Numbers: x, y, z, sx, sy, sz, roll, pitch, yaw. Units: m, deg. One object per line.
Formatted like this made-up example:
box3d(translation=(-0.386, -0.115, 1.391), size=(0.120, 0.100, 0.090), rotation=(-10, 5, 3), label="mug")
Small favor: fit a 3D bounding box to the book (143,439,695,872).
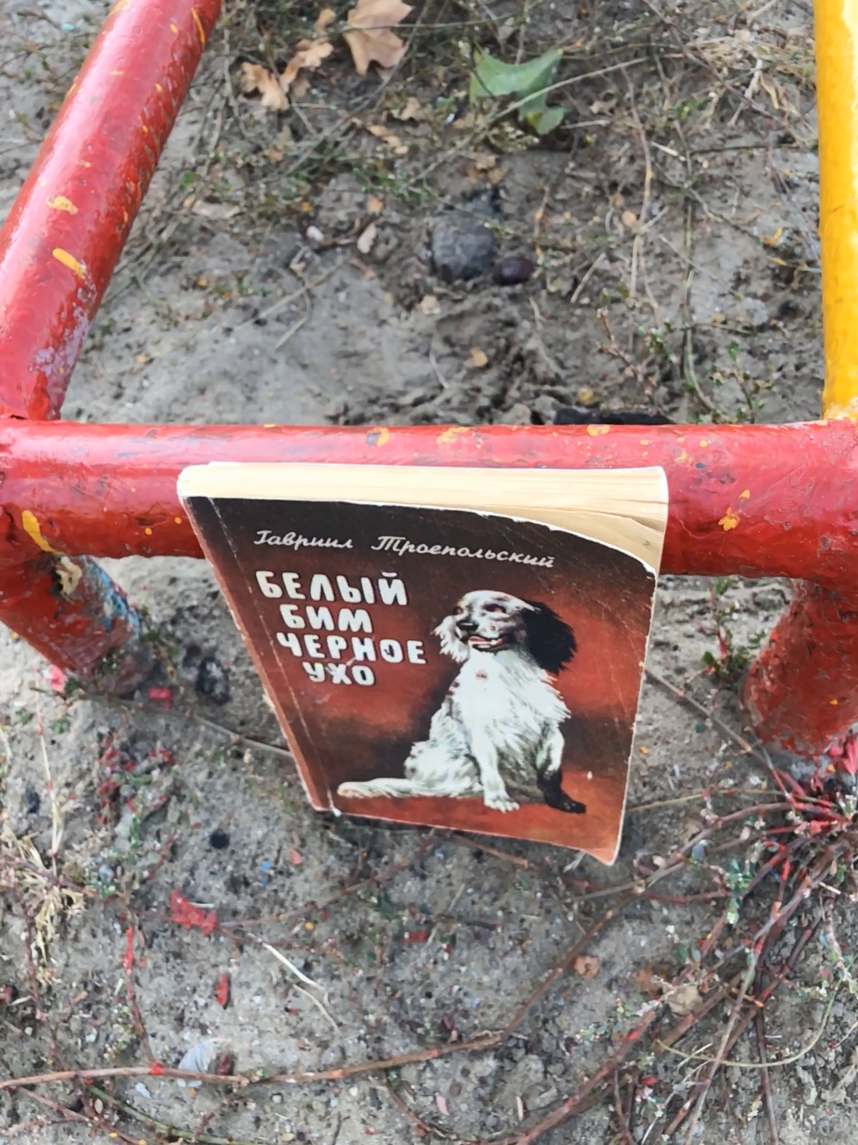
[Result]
box3d(translation=(0.008, 0.040, 0.308), size=(0.130, 0.196, 0.030), rotation=(5, 56, 12), label="book")
